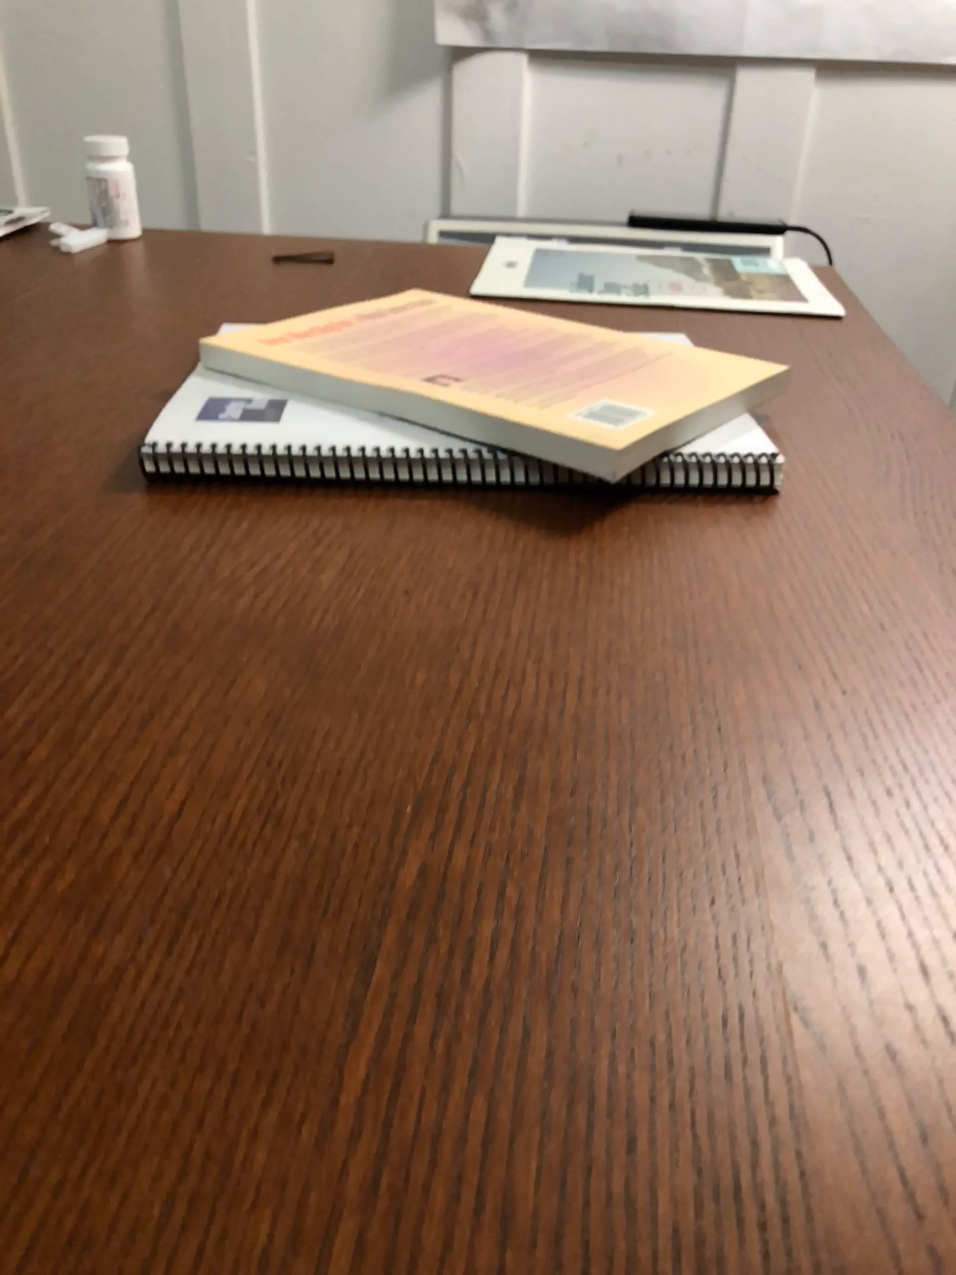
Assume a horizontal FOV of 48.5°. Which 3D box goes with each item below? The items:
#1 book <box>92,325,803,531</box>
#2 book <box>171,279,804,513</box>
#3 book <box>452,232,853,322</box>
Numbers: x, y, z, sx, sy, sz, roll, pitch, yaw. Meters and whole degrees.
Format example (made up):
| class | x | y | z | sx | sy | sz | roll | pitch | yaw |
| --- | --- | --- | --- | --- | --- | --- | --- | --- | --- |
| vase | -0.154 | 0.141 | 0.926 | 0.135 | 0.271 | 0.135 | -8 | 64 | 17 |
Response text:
| class | x | y | z | sx | sy | sz | roll | pitch | yaw |
| --- | --- | --- | --- | --- | --- | --- | --- | --- | --- |
| book | -0.015 | -0.114 | 0.537 | 0.290 | 0.020 | 0.231 | 0 | 31 | -3 |
| book | 0.005 | -0.138 | 0.545 | 0.261 | 0.020 | 0.191 | 22 | 36 | 30 |
| book | 0.126 | -0.278 | 0.808 | 0.270 | 0.010 | 0.201 | 5 | 31 | 4 |
